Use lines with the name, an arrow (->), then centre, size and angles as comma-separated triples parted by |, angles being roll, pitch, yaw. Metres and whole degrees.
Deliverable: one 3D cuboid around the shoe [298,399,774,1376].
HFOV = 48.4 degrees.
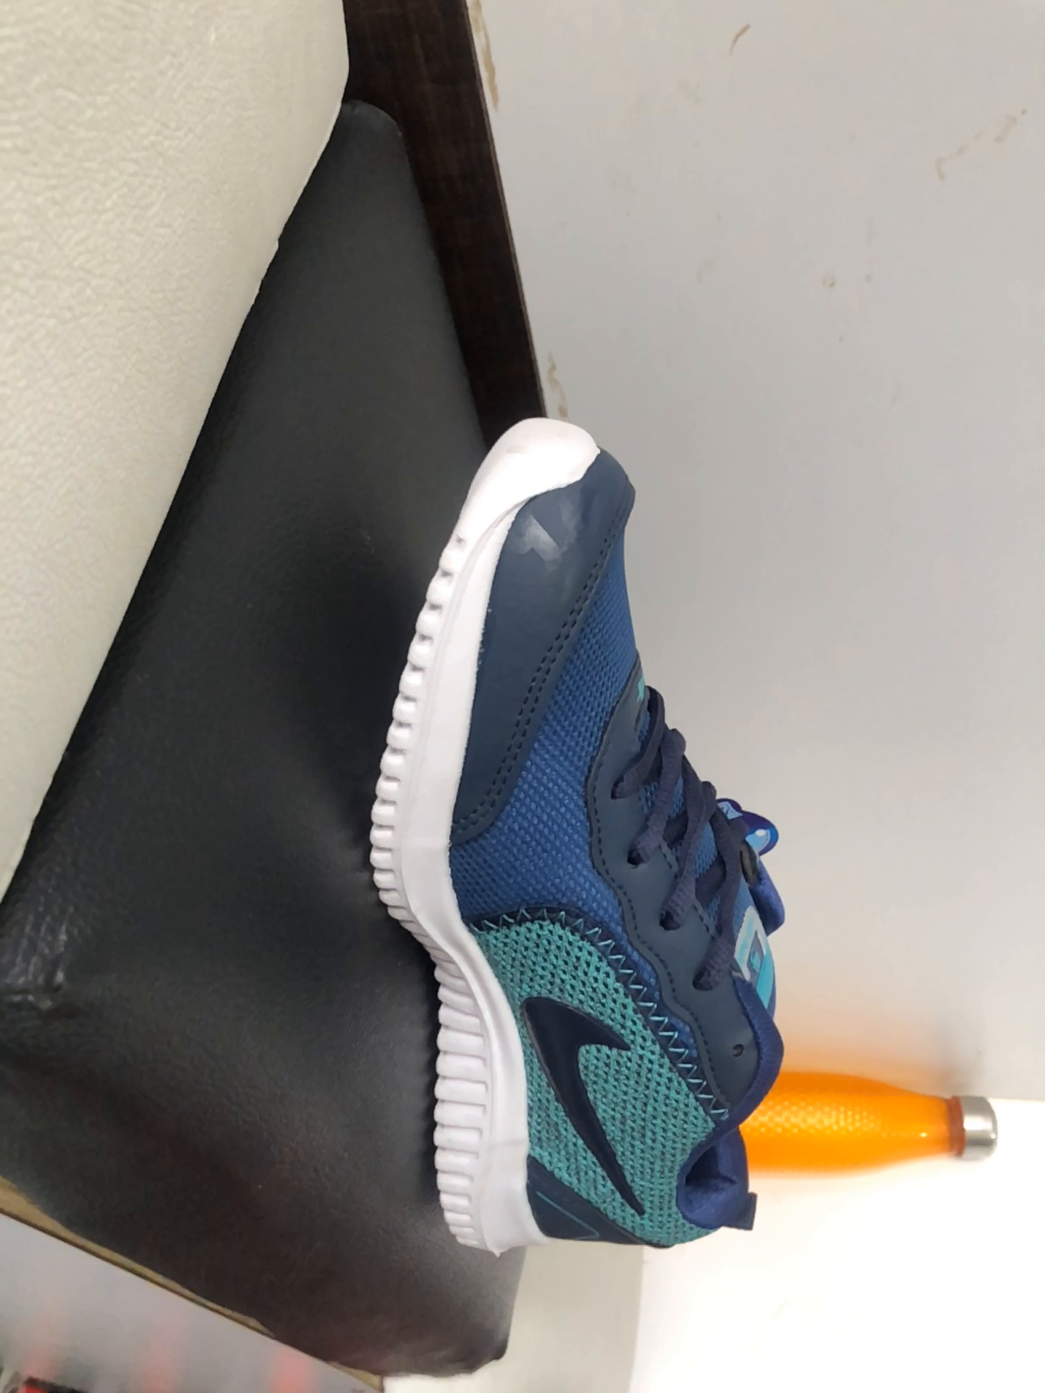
shoe -> 0.025, 0.056, 0.356 | 0.130, 0.100, 0.260 | -68, 155, -62
